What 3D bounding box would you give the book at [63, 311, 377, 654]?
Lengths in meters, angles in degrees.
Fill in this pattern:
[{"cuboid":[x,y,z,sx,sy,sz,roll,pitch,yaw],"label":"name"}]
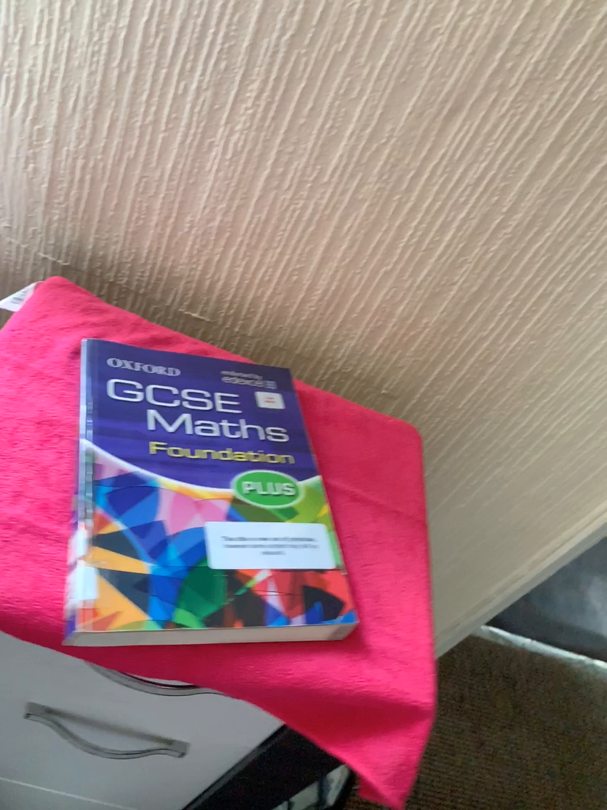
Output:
[{"cuboid":[-0.074,0.049,0.502,0.210,0.030,0.282,9,45,-26],"label":"book"}]
